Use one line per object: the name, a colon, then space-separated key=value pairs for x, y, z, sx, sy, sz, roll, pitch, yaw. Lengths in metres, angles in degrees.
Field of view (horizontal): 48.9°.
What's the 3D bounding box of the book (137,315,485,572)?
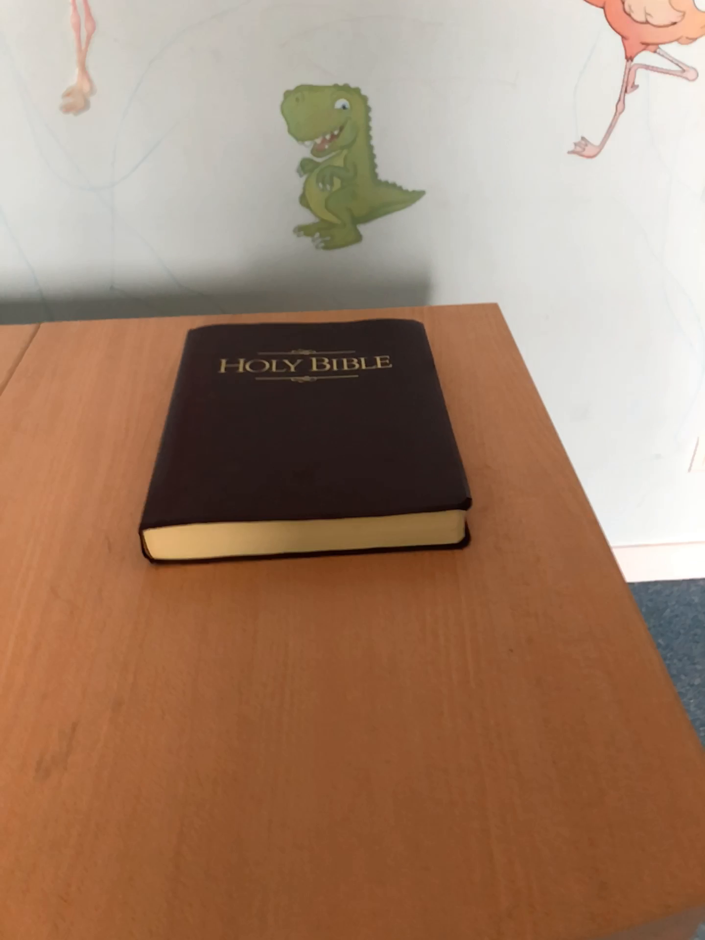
book: x=-0.033 y=-0.038 z=0.621 sx=0.223 sy=0.040 sz=0.282 roll=-2 pitch=38 yaw=-2
